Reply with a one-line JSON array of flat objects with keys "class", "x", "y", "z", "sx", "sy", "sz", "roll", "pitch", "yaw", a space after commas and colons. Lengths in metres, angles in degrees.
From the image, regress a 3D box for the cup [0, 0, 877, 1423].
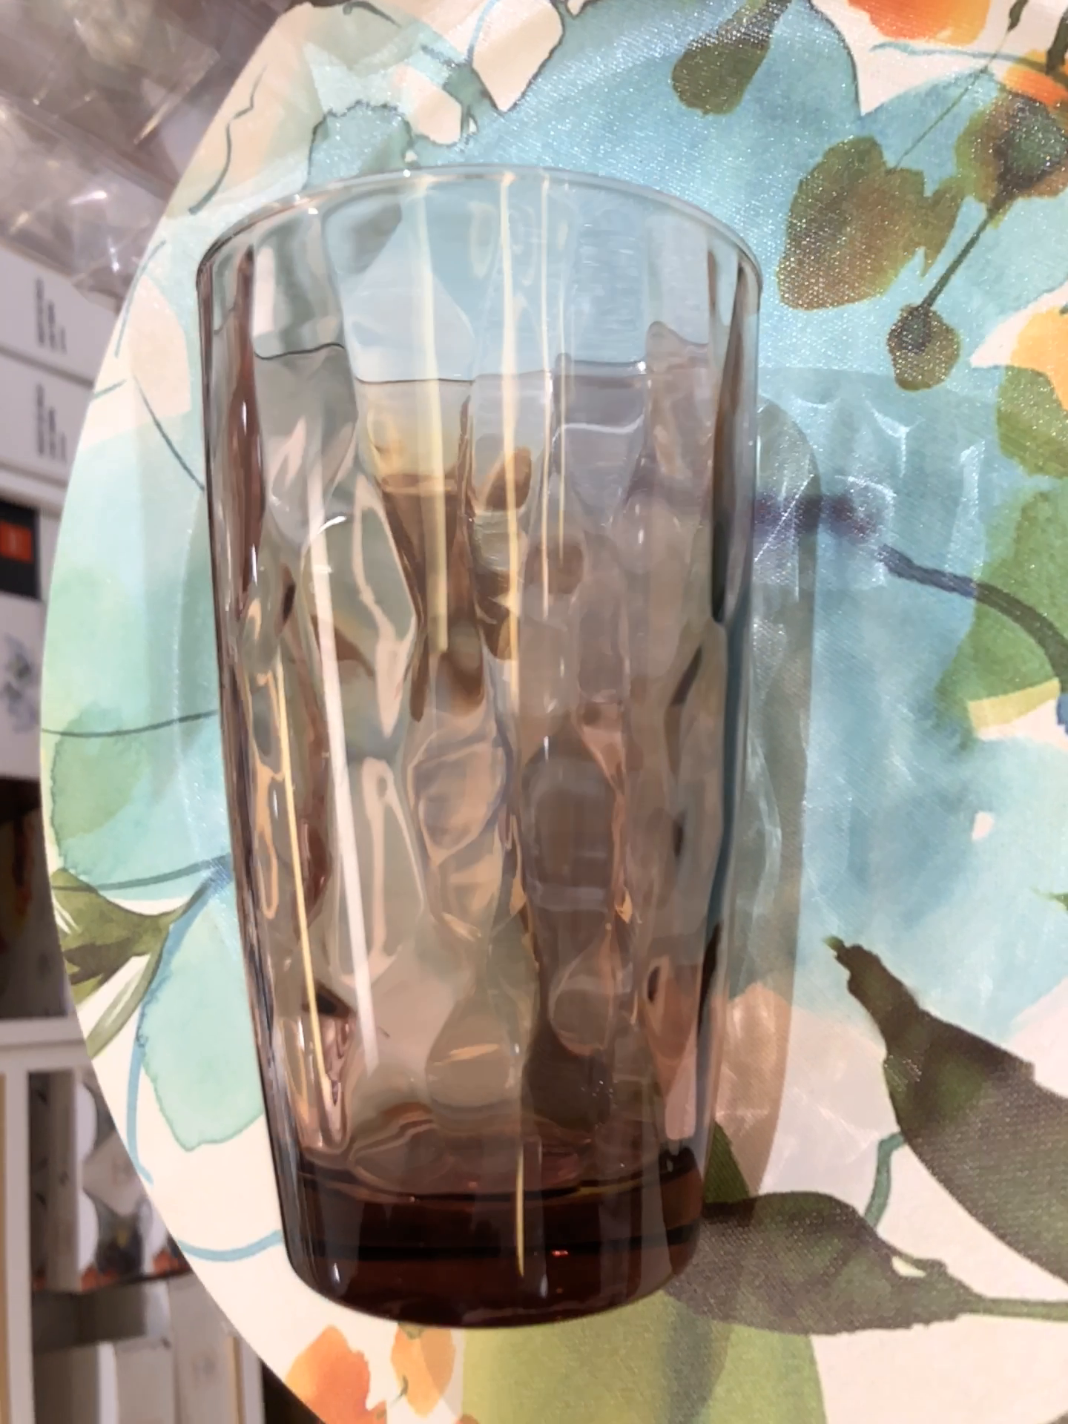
[{"class": "cup", "x": -0.011, "y": 0.009, "z": 0.170, "sx": 0.090, "sy": 0.080, "sz": 0.150, "roll": -4, "pitch": 79, "yaw": 39}]
